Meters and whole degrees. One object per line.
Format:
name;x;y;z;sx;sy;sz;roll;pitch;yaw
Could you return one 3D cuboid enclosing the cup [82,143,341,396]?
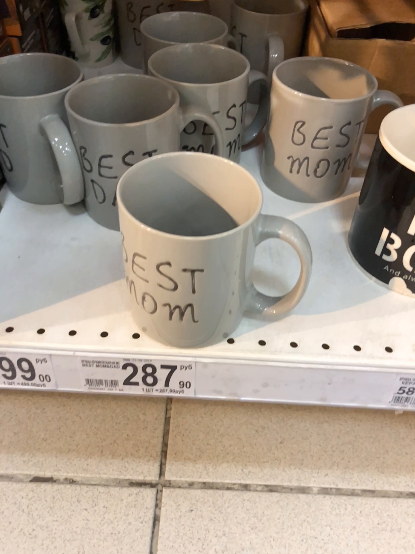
cup;0.007;-0.009;0.338;0.143;0.121;0.101;14;44;14
